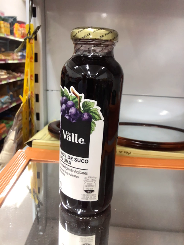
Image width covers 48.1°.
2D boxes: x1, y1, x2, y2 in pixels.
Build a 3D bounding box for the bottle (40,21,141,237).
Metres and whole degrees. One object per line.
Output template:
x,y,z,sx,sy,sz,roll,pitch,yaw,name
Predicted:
-0.005,0.005,0.212,0.070,0.189,0.060,13,19,28,bottle
